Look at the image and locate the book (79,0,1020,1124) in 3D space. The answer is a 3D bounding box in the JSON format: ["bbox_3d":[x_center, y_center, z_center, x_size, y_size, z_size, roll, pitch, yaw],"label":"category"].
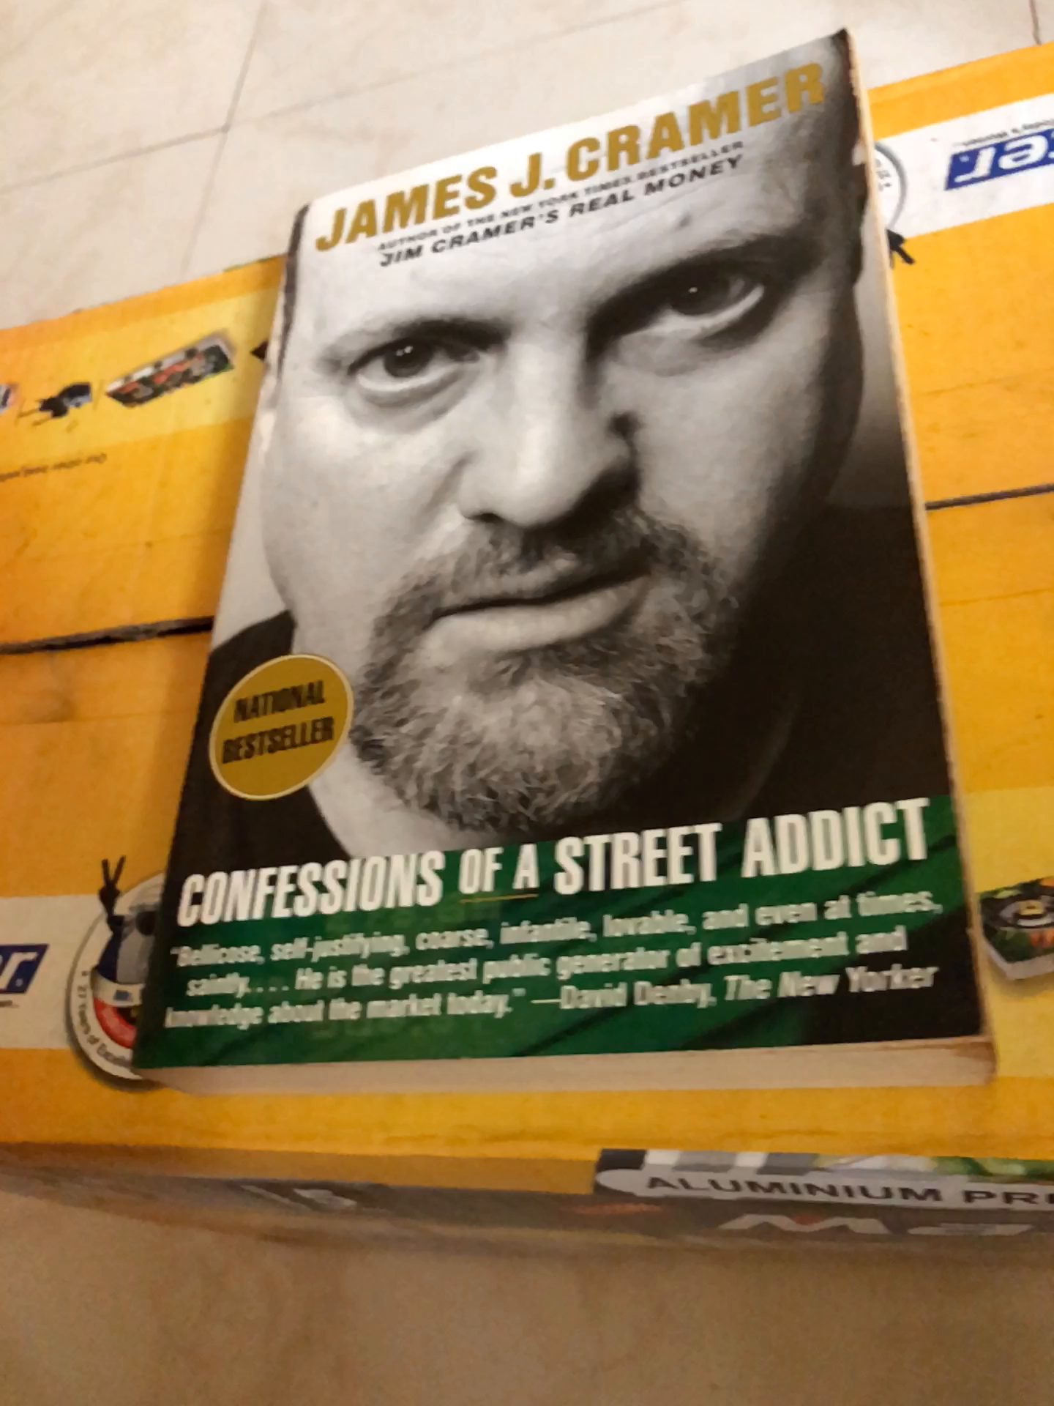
[{"bbox_3d":[0.004,-0.040,0.236,0.140,0.030,0.230,-8,59,19],"label":"book"}]
